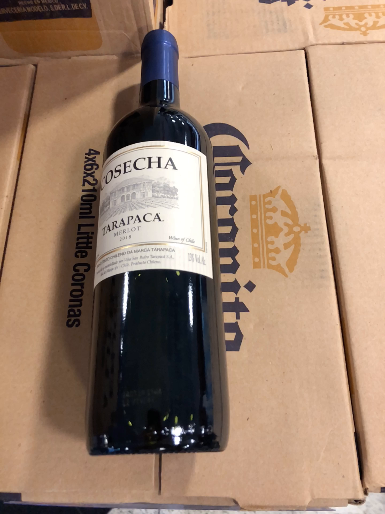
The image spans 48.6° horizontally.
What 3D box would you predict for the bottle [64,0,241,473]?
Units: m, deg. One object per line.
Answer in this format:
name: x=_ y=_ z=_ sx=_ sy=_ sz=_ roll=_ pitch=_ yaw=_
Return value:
bottle: x=-0.034 y=-0.052 z=0.273 sx=0.070 sy=0.060 sz=0.331 roll=-1 pitch=61 yaw=-9
